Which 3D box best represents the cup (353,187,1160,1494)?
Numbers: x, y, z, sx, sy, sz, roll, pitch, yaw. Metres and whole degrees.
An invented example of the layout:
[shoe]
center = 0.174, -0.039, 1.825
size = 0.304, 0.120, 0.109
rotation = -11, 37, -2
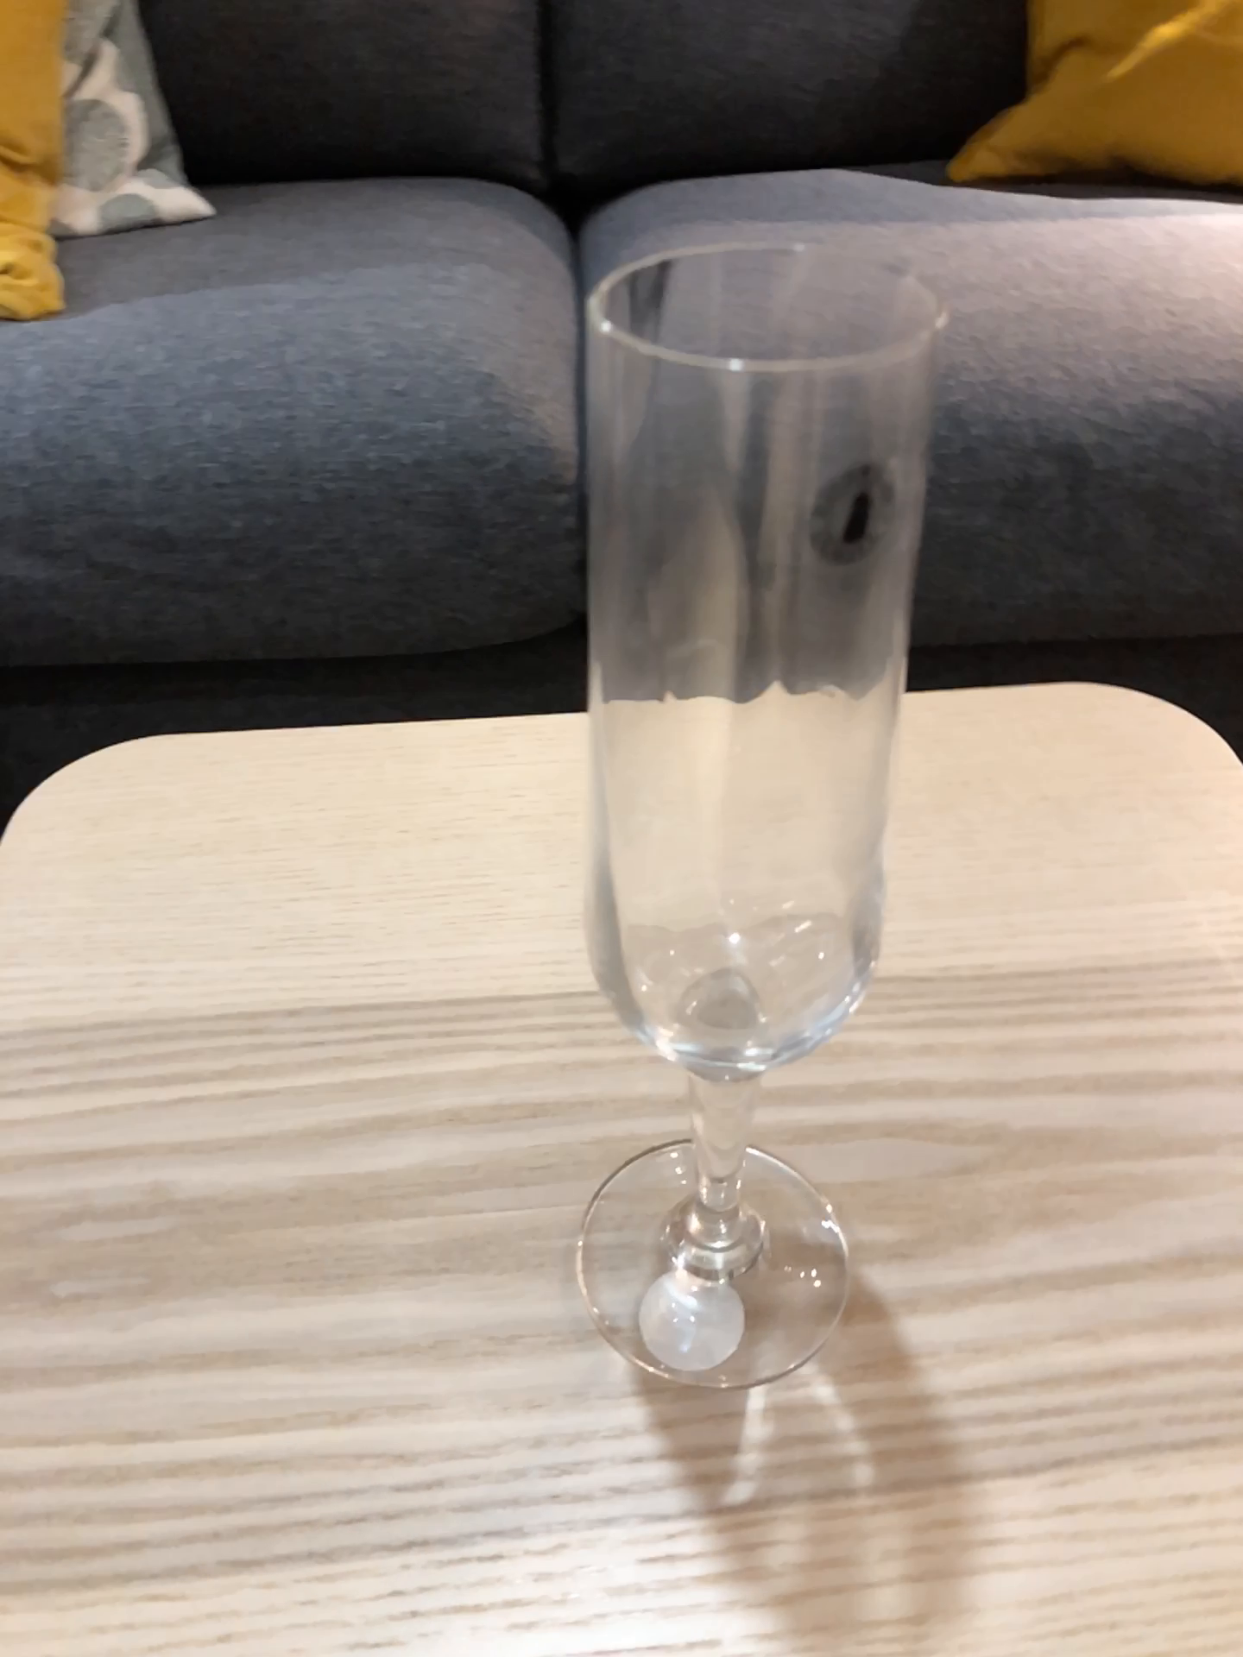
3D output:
[cup]
center = 0.020, 0.018, 0.270
size = 0.080, 0.239, 0.080
rotation = -1, 40, 0
